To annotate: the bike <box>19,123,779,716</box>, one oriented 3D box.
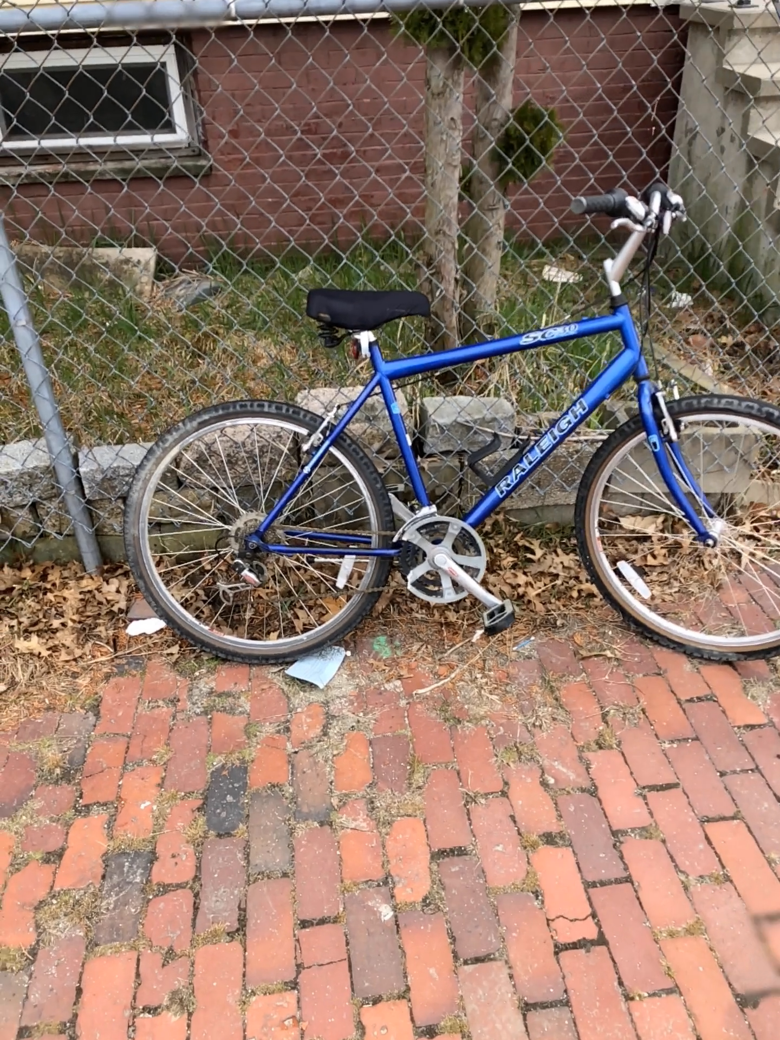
[{"bbox_3d":[0.224,-0.212,1.877,1.663,1.024,0.684,-1,30,8],"label":"bike"}]
